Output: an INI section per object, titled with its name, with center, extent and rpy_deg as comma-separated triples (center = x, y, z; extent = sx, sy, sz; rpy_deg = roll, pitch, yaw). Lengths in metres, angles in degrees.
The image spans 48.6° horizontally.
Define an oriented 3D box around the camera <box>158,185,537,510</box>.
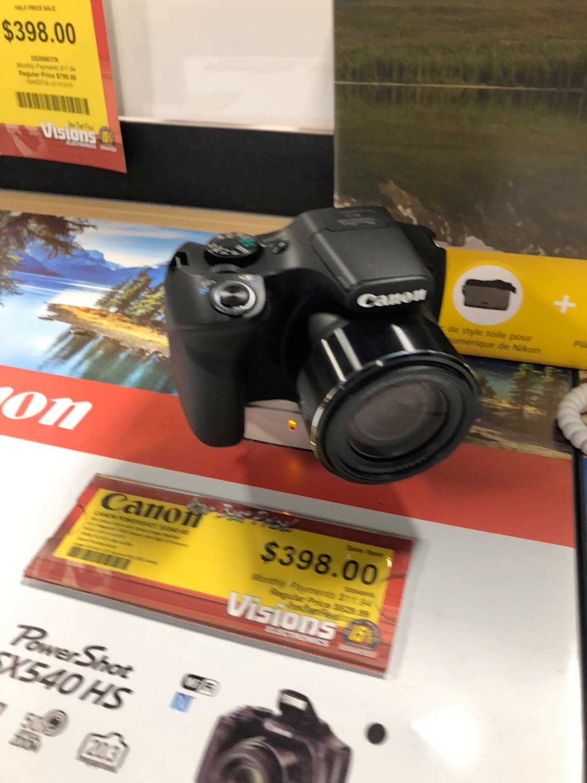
[camera]
center = 0.013, -0.022, 0.261
extent = 0.120, 0.079, 0.091
rpy_deg = -8, 37, -7
